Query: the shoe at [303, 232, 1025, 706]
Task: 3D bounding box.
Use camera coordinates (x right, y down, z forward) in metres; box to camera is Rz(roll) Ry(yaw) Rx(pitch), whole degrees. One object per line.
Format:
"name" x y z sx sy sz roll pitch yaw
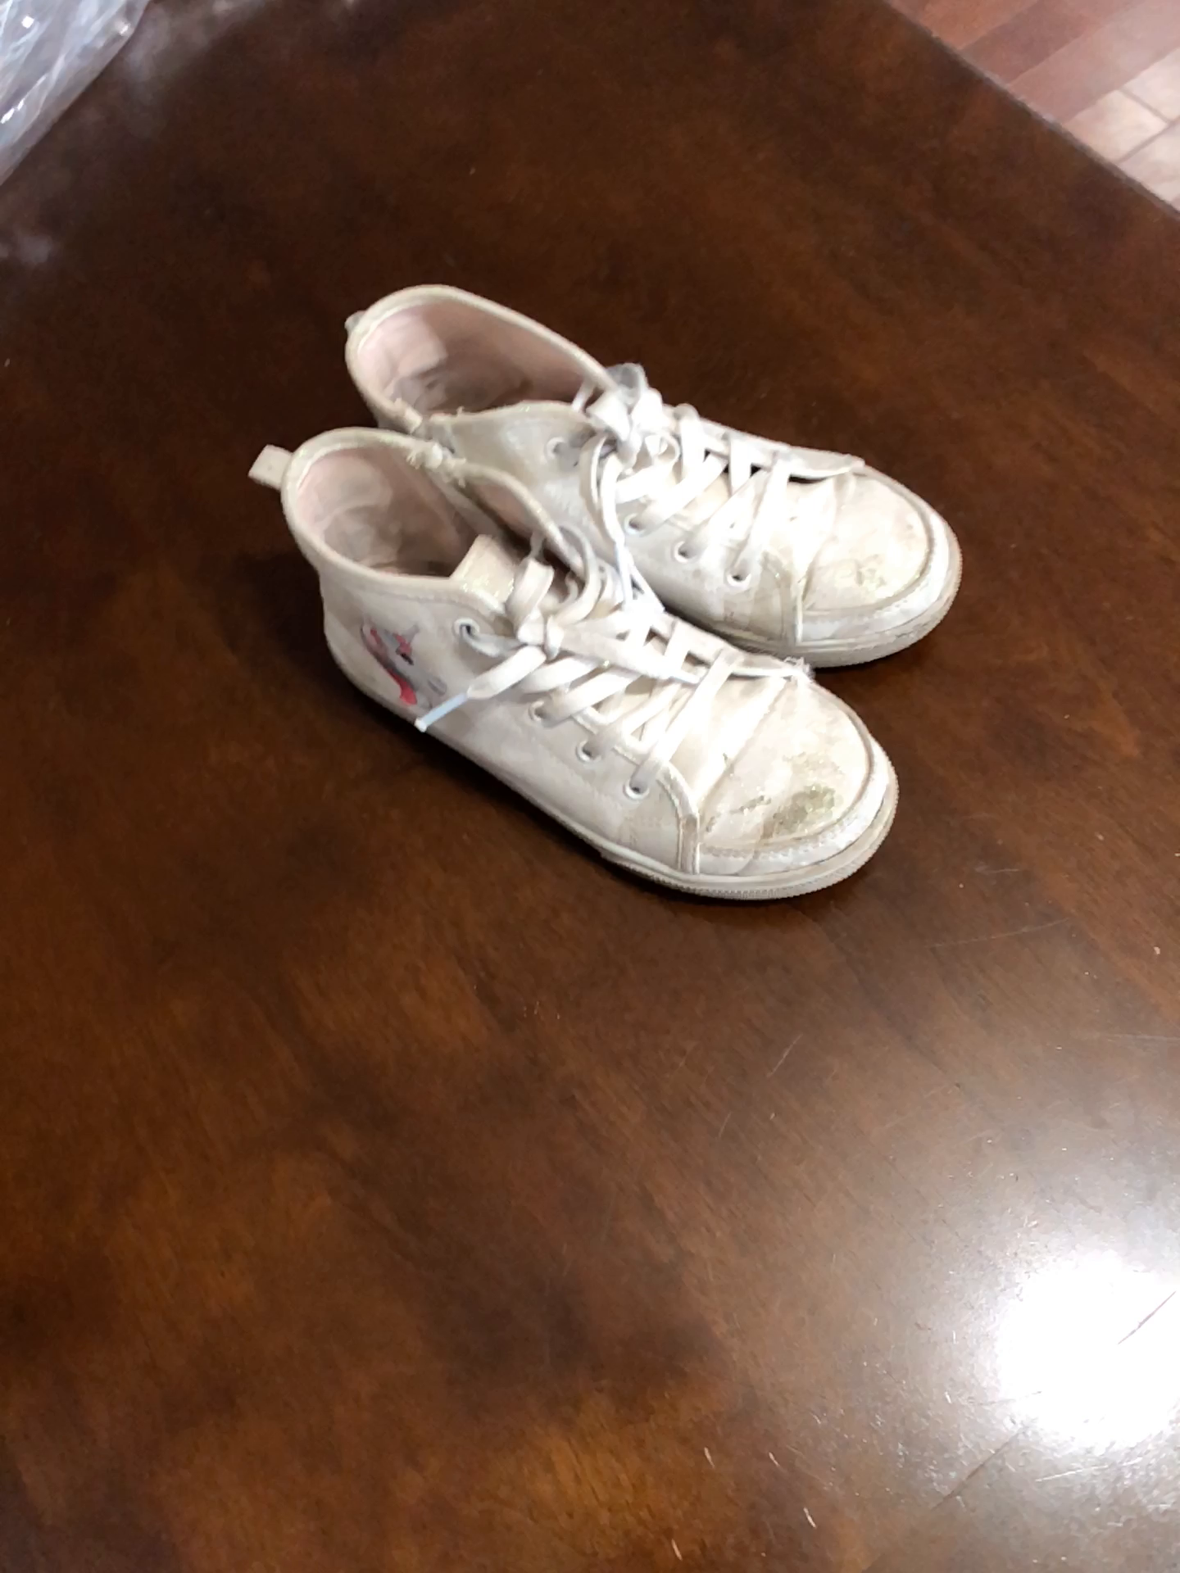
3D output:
"shoe" 0.027 -0.113 0.472 0.220 0.100 0.090 12 68 10

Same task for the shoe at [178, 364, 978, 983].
"shoe" -0.004 -0.036 0.431 0.220 0.100 0.090 25 71 15
